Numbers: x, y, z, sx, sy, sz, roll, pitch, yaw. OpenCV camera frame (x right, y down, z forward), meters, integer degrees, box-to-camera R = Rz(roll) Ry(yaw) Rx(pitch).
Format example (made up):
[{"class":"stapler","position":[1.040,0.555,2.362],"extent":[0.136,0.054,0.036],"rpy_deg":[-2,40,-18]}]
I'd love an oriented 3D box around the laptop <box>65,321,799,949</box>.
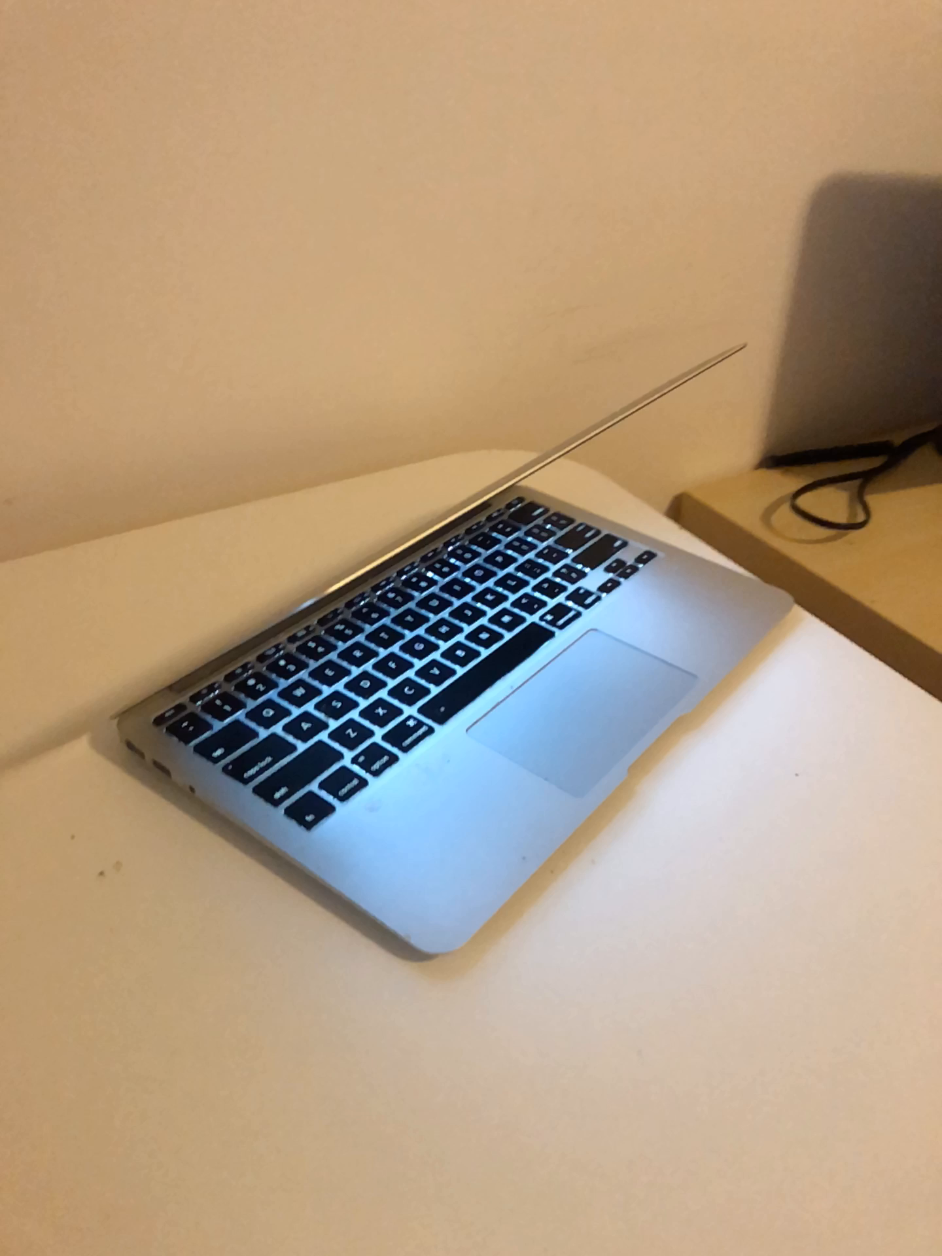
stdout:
[{"class":"laptop","position":[0.003,-0.032,0.465],"extent":[0.181,0.108,0.286],"rpy_deg":[24,38,28]}]
